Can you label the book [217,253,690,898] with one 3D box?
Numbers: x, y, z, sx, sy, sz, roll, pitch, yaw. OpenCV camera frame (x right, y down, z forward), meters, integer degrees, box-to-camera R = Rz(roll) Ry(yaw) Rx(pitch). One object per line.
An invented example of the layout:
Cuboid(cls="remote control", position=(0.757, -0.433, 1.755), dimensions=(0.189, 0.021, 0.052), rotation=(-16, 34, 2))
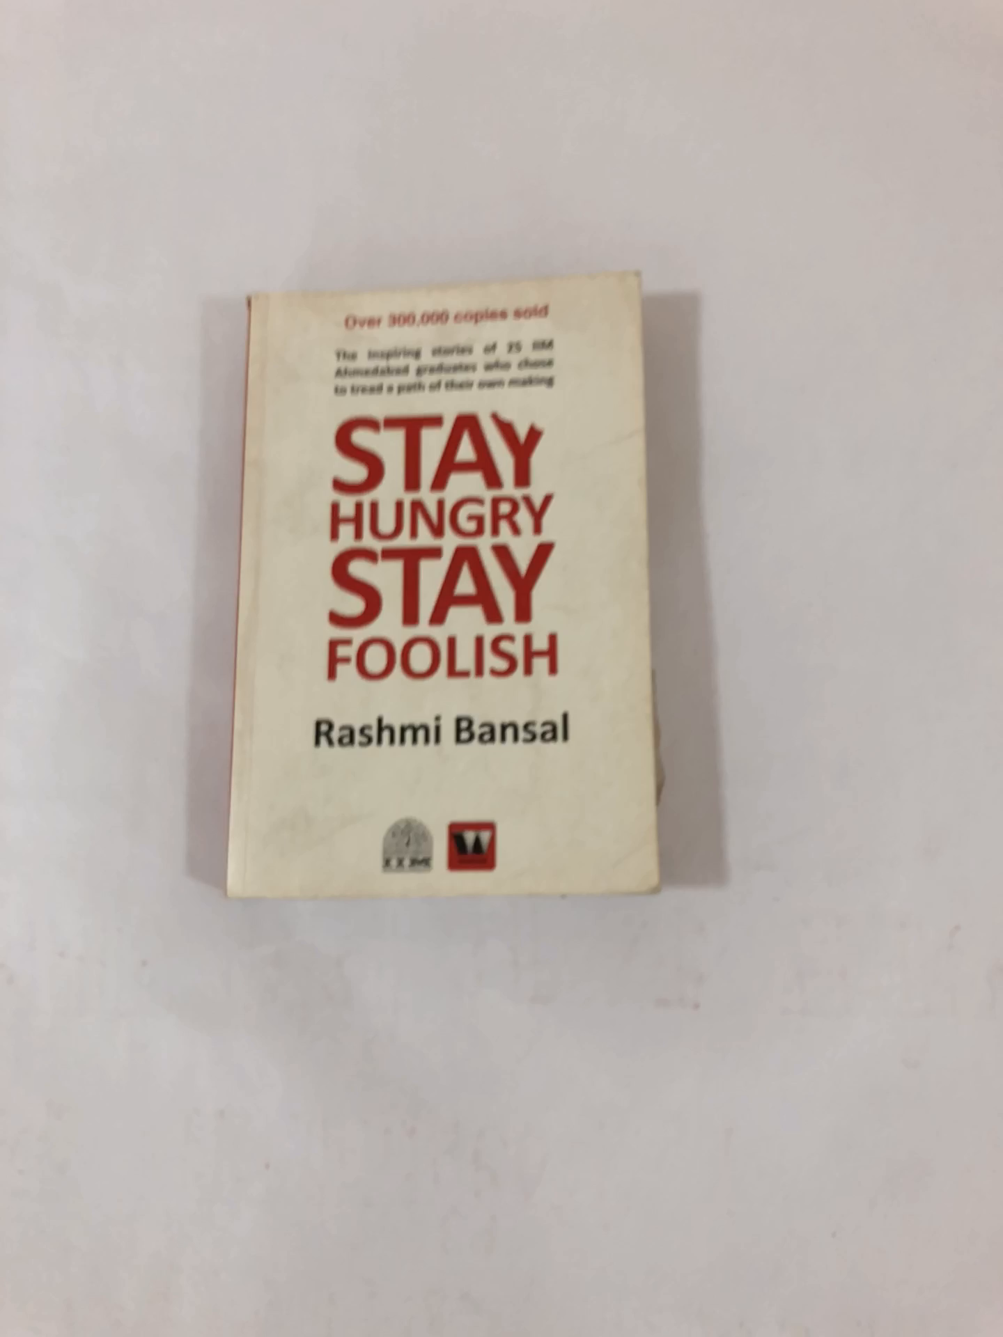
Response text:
Cuboid(cls="book", position=(-0.013, -0.027, 0.347), dimensions=(0.130, 0.040, 0.190), rotation=(-2, 78, 5))
